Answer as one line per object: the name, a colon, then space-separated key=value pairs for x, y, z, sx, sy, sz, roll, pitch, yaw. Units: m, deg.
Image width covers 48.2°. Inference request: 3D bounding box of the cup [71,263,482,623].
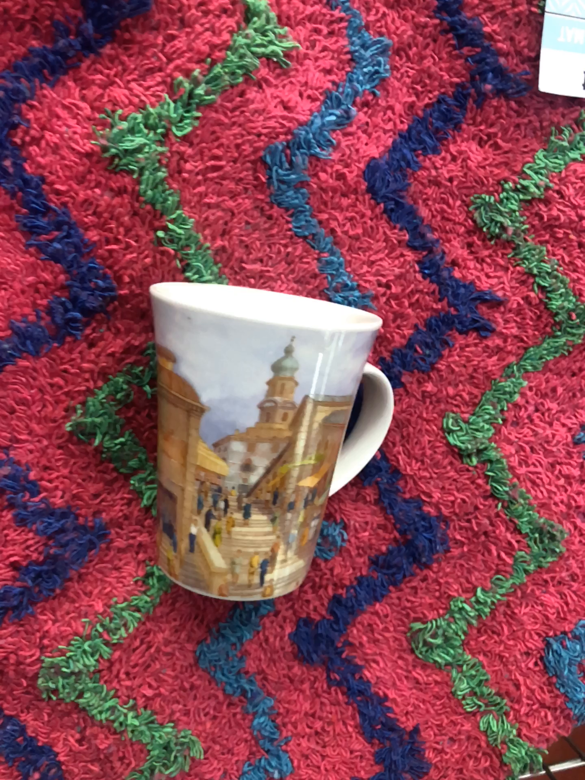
cup: x=-0.006 y=0.009 z=0.244 sx=0.110 sy=0.090 sz=0.090 roll=-3 pitch=106 yaw=-46
